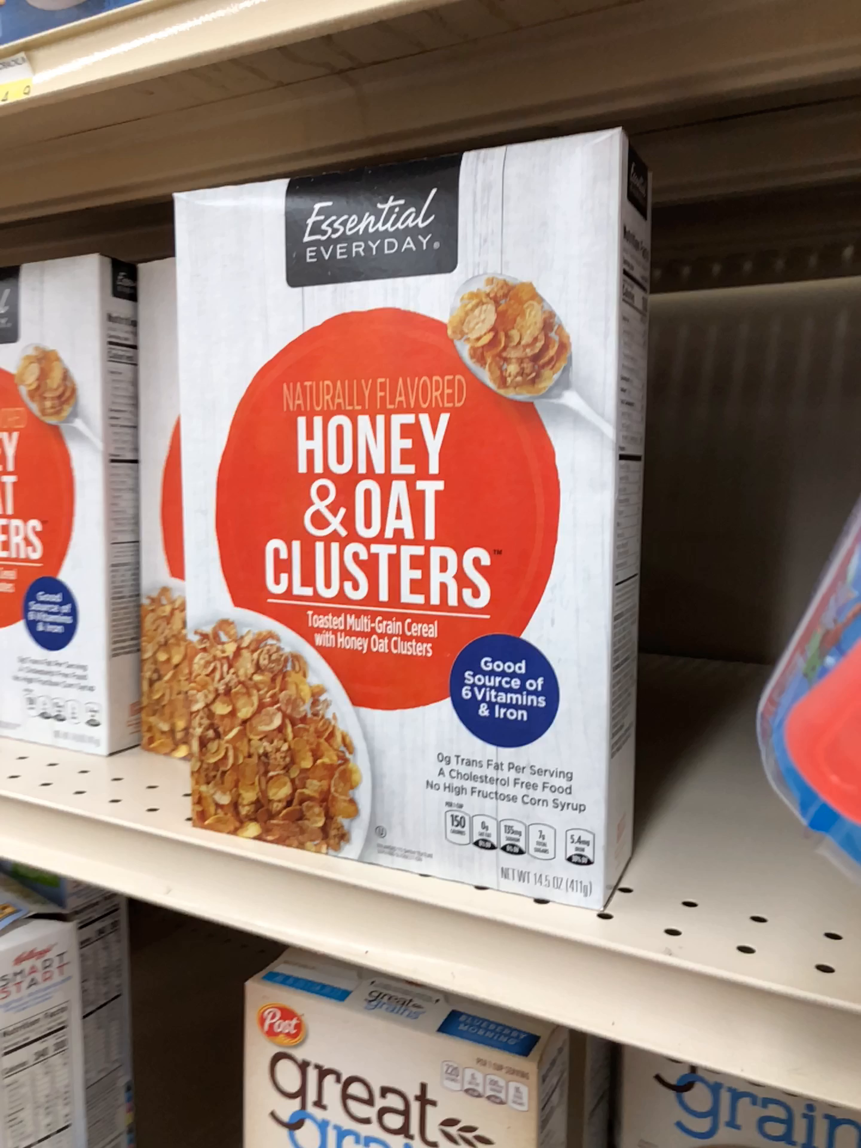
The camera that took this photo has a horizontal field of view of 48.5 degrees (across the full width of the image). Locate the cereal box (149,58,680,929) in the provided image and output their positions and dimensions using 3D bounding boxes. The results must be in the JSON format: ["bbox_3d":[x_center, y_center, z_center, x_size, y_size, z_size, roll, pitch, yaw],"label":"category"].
[{"bbox_3d":[-0.010,-0.029,0.409,0.210,0.300,0.070,3,7,27],"label":"cereal box"}]
